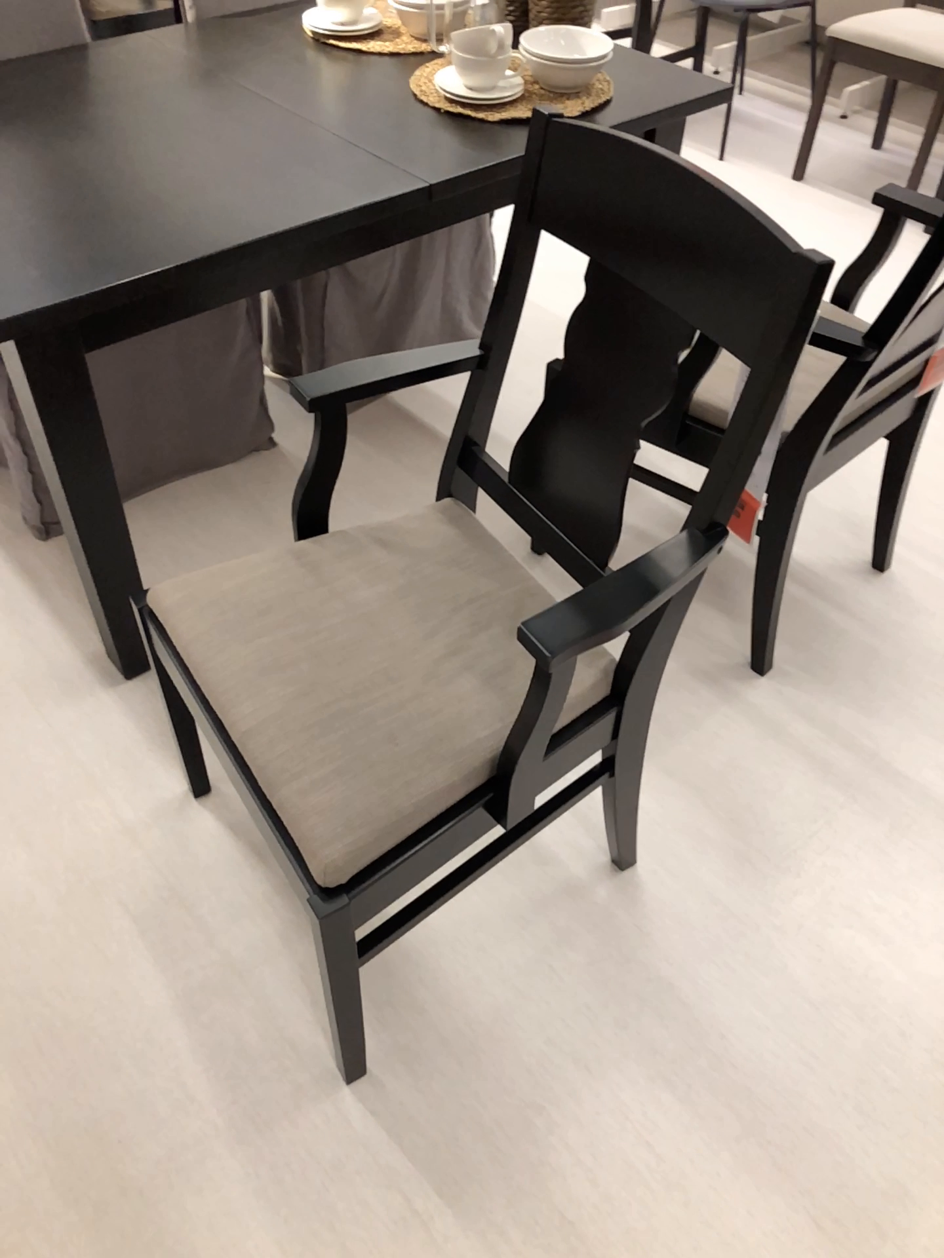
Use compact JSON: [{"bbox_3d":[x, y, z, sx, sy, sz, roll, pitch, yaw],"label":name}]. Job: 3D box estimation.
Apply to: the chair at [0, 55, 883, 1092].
[{"bbox_3d":[-0.061,-0.031,1.266,0.571,0.994,0.573,-24,51,-23],"label":"chair"}]
